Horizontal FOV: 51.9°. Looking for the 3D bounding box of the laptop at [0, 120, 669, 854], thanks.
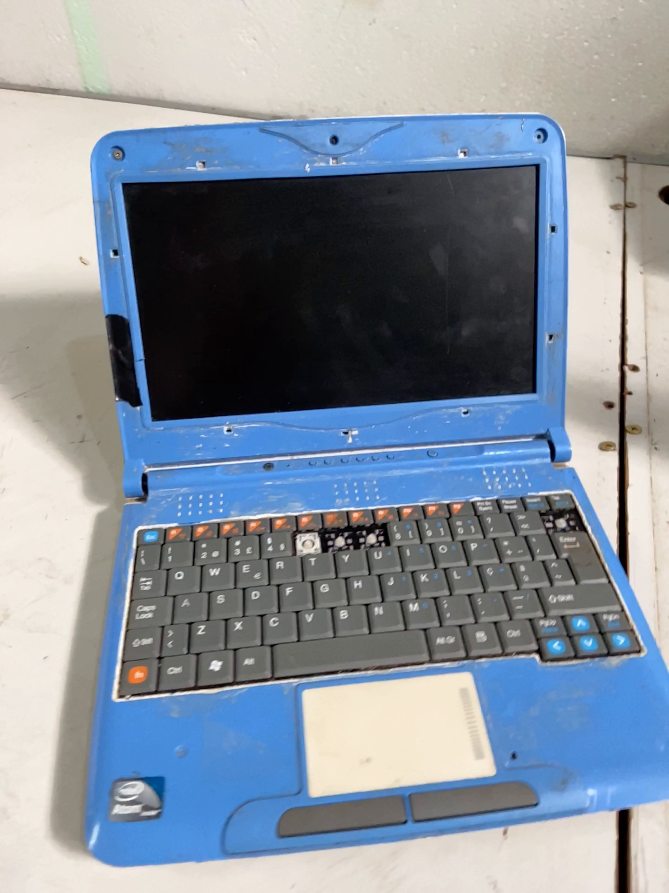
[{"bbox_3d":[0.011,-0.010,0.314,0.240,0.149,0.288,-5,47,-5],"label":"laptop"}]
